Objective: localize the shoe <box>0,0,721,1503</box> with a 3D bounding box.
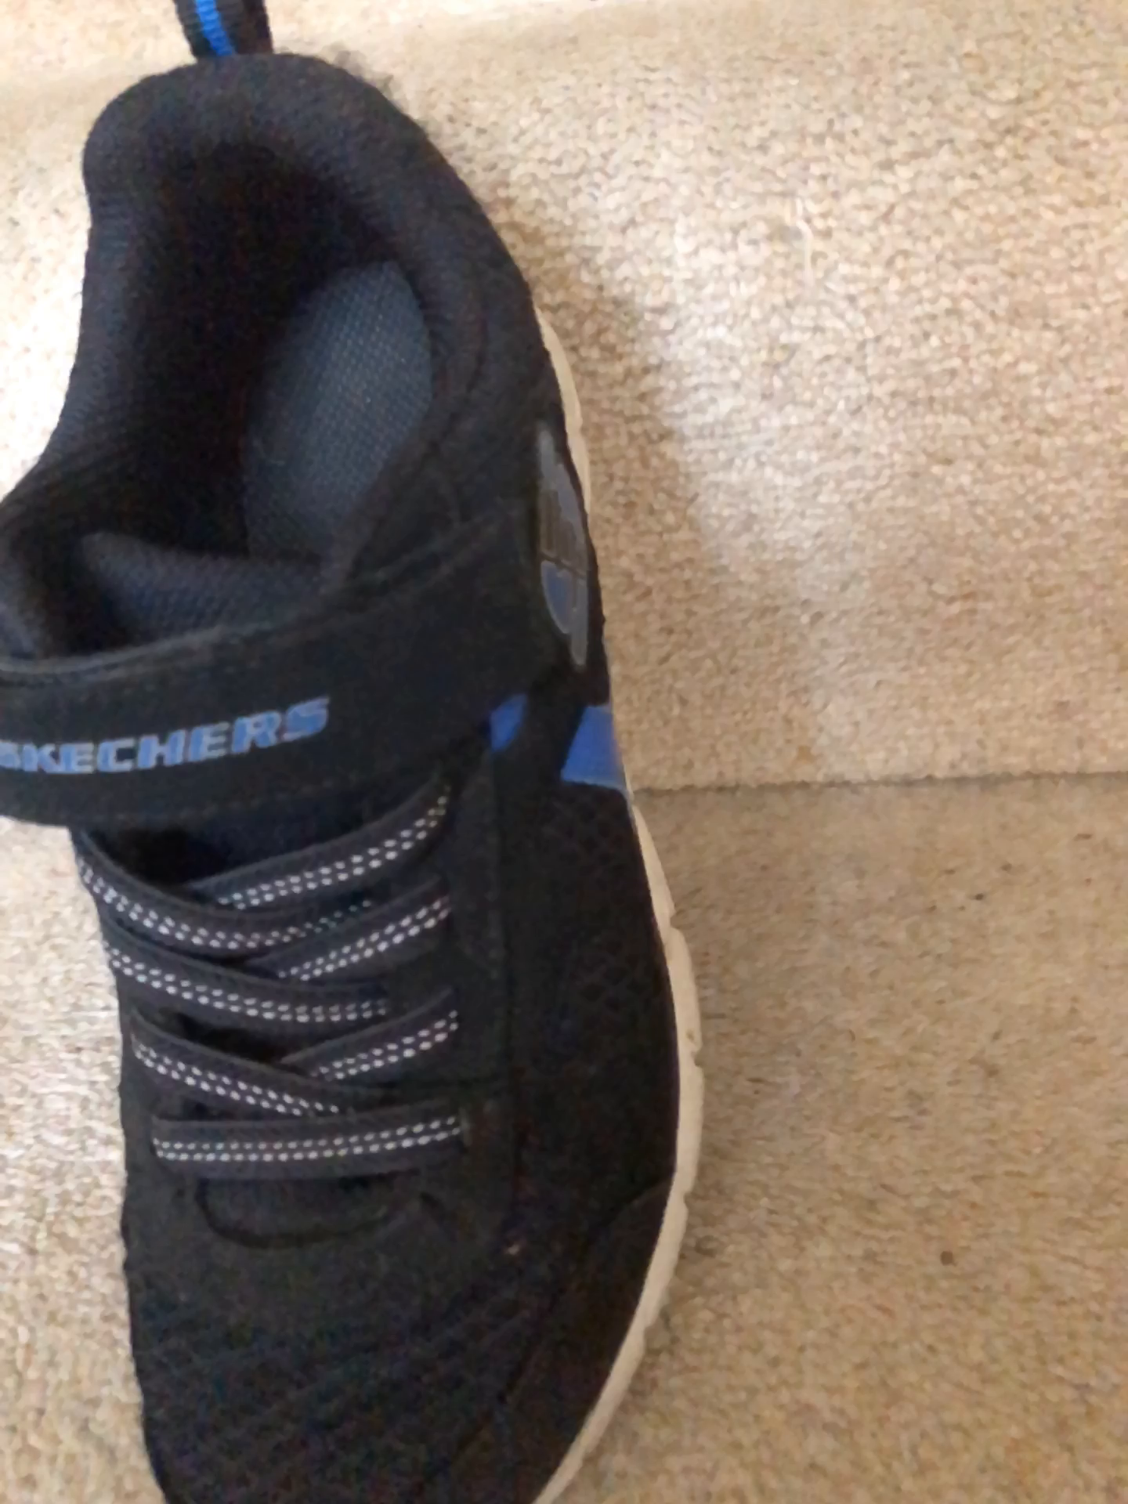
[{"bbox_3d":[-0.040,0.005,0.187,0.090,0.220,0.100,-6,-8,18],"label":"shoe"}]
